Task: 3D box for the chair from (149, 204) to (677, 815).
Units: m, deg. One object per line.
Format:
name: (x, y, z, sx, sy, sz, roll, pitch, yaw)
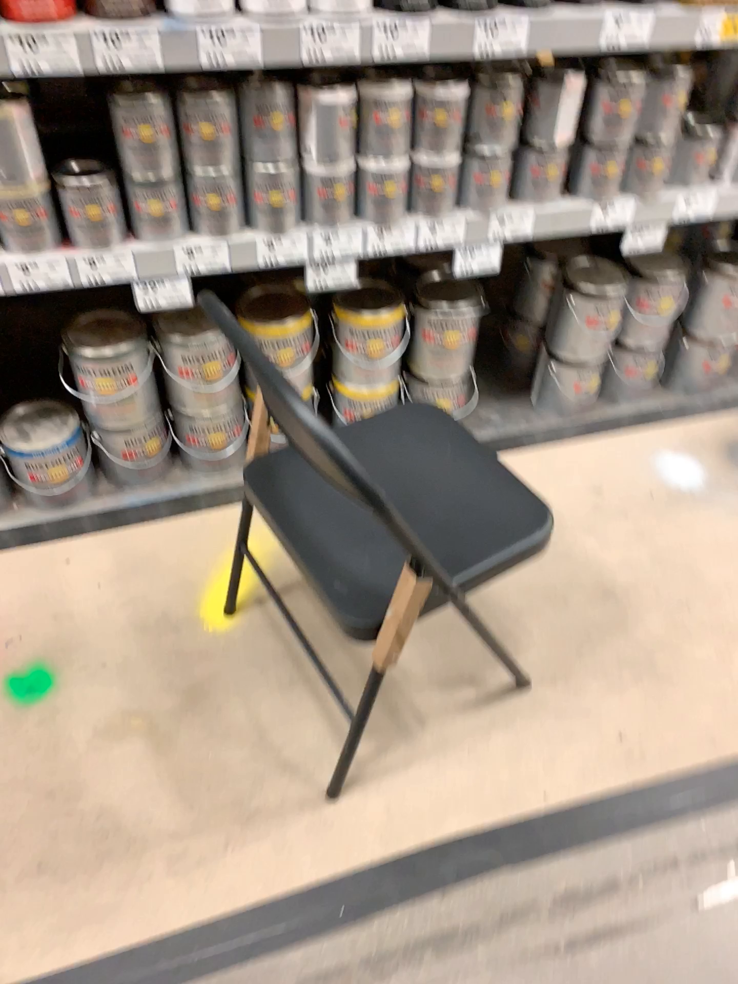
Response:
chair: (0.026, 0.036, 1.163, 0.475, 0.714, 0.453, -21, 49, -22)
